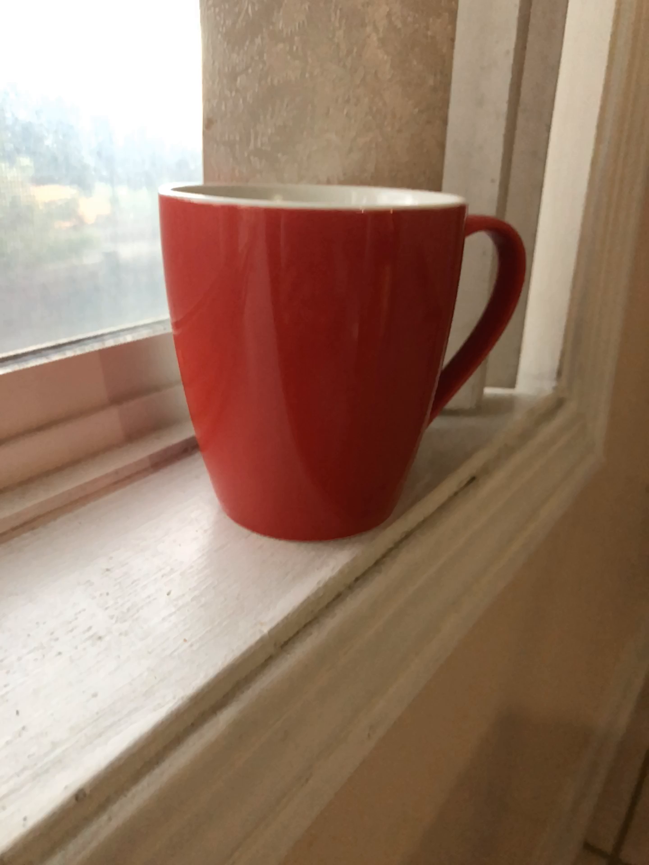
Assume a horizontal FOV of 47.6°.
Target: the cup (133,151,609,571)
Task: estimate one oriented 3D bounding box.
[{"bbox_3d":[0.016,-0.034,0.220,0.080,0.090,0.110,20,28,39],"label":"cup"}]
